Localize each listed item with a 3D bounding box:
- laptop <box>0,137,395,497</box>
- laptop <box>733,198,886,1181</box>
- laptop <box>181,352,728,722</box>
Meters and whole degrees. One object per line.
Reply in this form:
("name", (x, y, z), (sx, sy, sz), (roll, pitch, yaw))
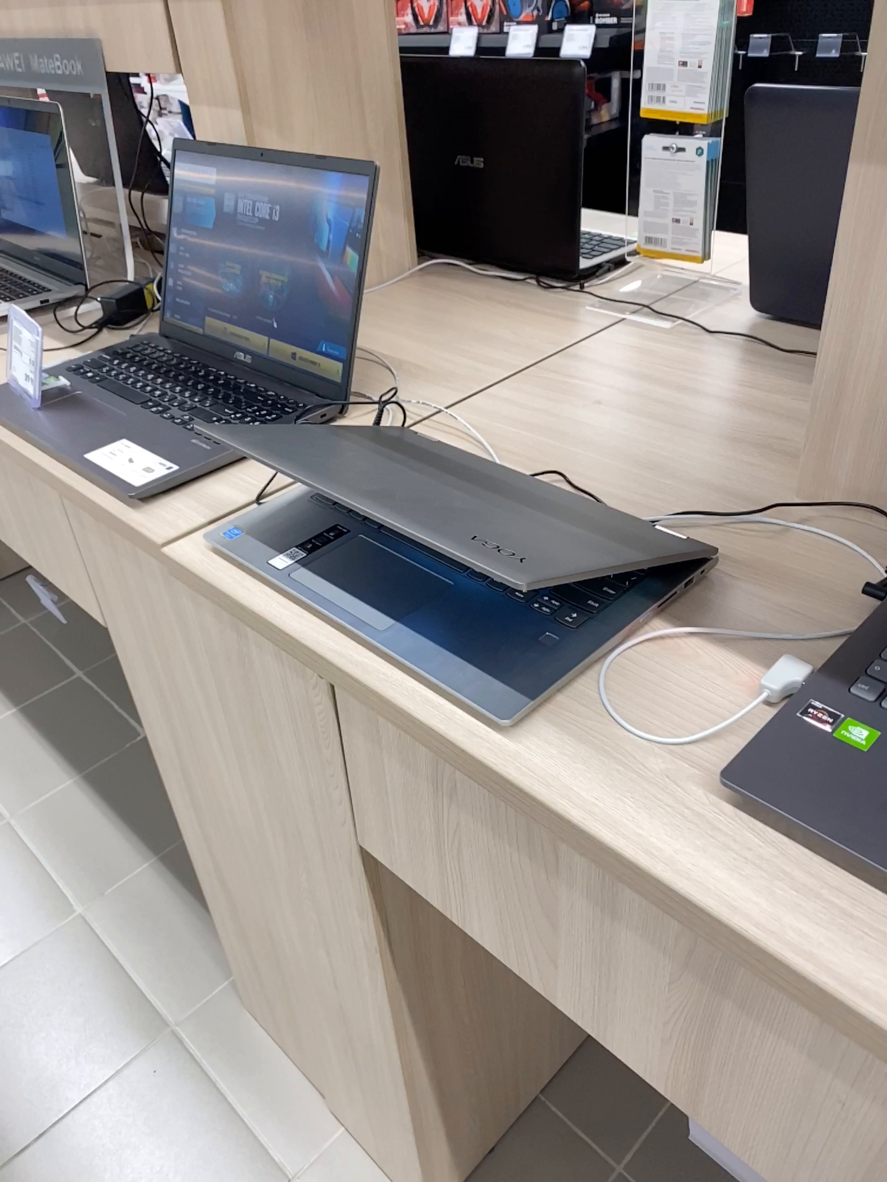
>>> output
("laptop", (-0.291, -0.301, 0.907), (0.308, 0.212, 0.353), (-31, 43, -33))
("laptop", (0.382, 0.007, 0.377), (0.391, 0.215, 0.303), (25, 45, 36))
("laptop", (-0.003, -0.067, 0.656), (0.218, 0.082, 0.326), (-32, 42, -32))
